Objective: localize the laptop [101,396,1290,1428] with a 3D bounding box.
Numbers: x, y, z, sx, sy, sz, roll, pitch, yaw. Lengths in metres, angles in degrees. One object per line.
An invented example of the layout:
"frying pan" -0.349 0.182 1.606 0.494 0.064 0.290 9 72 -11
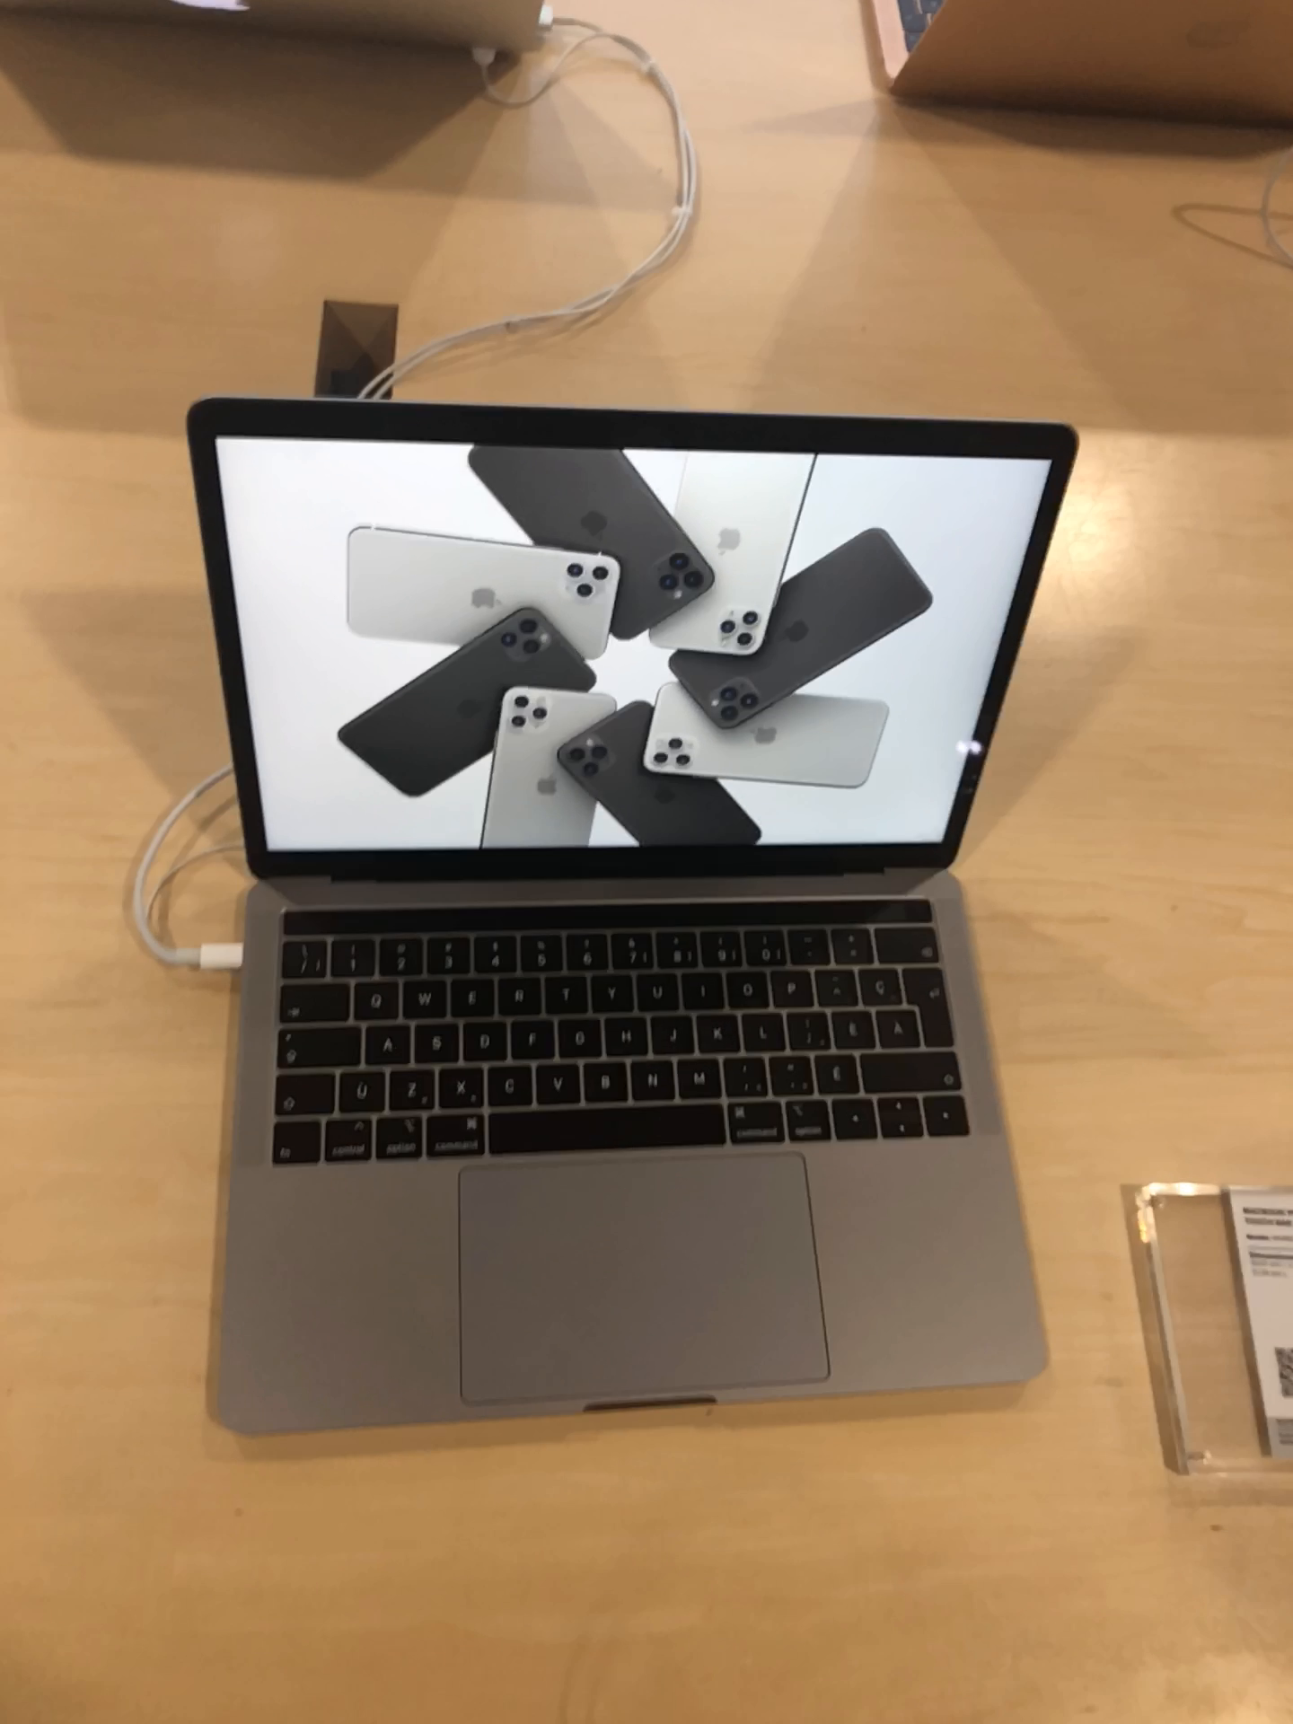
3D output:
"laptop" -0.003 0.023 0.494 0.296 0.181 0.295 -1 64 -9
